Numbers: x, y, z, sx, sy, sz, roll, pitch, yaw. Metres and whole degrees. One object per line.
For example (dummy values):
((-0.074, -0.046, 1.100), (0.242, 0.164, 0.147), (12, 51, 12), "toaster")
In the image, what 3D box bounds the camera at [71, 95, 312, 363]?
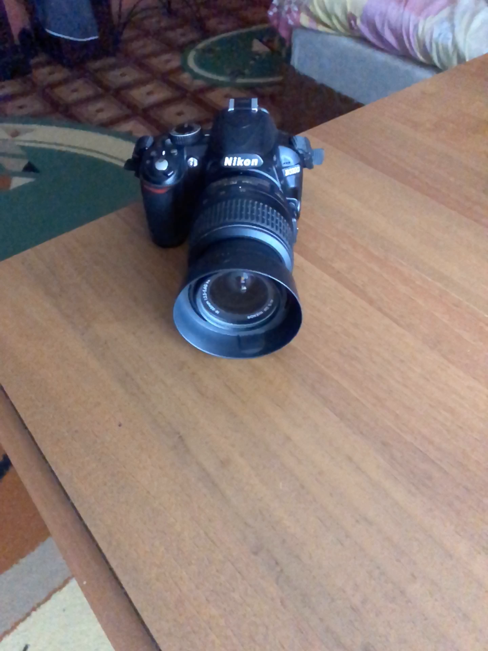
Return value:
((-0.022, -0.077, 0.384), (0.129, 0.092, 0.184), (2, 46, 3), "camera")
